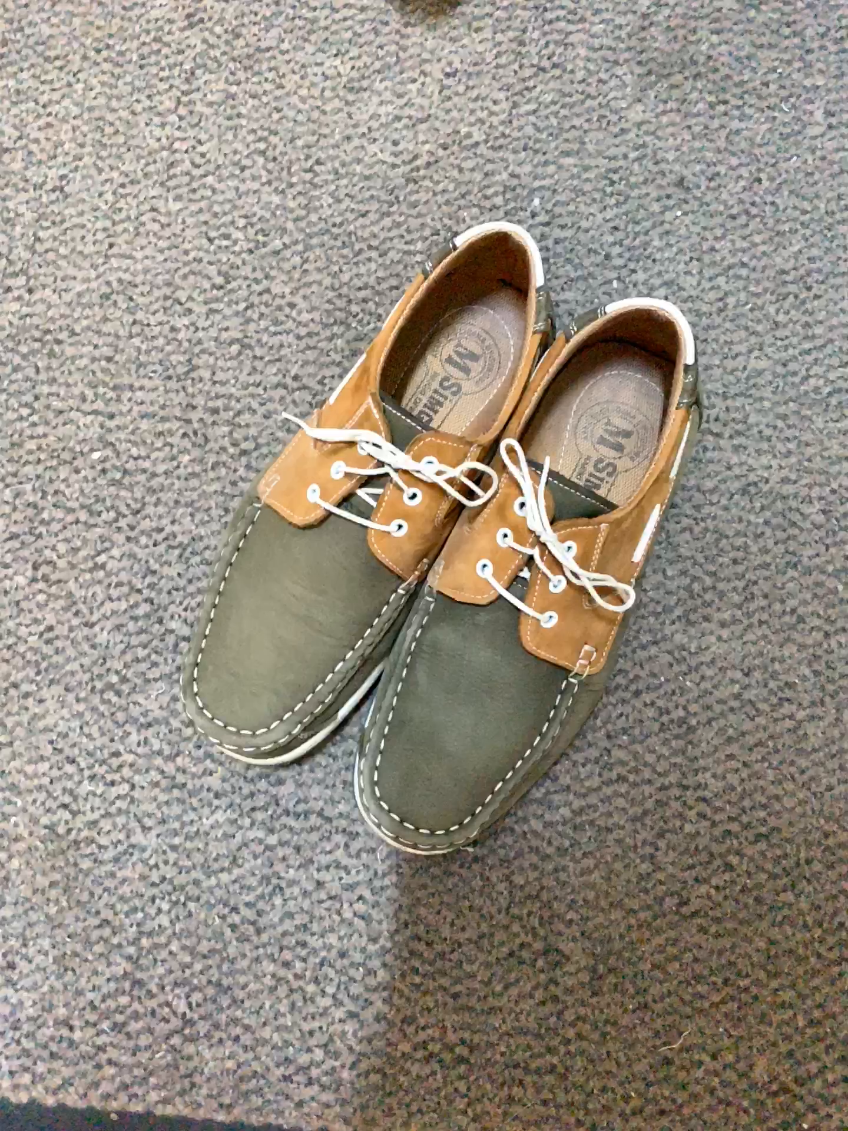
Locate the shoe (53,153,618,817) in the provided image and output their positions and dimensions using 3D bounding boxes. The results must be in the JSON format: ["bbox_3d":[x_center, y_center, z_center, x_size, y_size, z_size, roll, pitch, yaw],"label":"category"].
[{"bbox_3d":[-0.032,-0.032,0.428,0.107,0.130,0.270,31,81,5],"label":"shoe"}]

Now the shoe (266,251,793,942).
[{"bbox_3d":[0.049,0.014,0.425,0.107,0.130,0.270,28,81,5],"label":"shoe"}]
